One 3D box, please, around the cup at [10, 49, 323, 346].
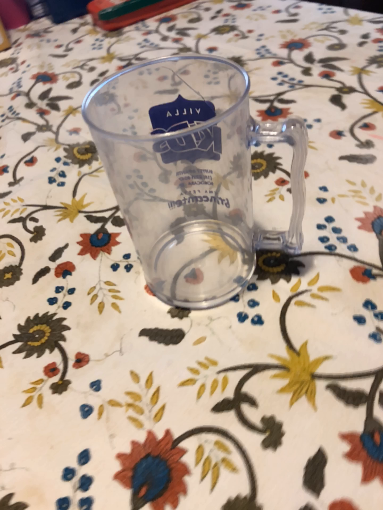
[{"bbox_3d":[0.002,-0.024,0.210,0.110,0.109,0.080,3,48,14],"label":"cup"}]
